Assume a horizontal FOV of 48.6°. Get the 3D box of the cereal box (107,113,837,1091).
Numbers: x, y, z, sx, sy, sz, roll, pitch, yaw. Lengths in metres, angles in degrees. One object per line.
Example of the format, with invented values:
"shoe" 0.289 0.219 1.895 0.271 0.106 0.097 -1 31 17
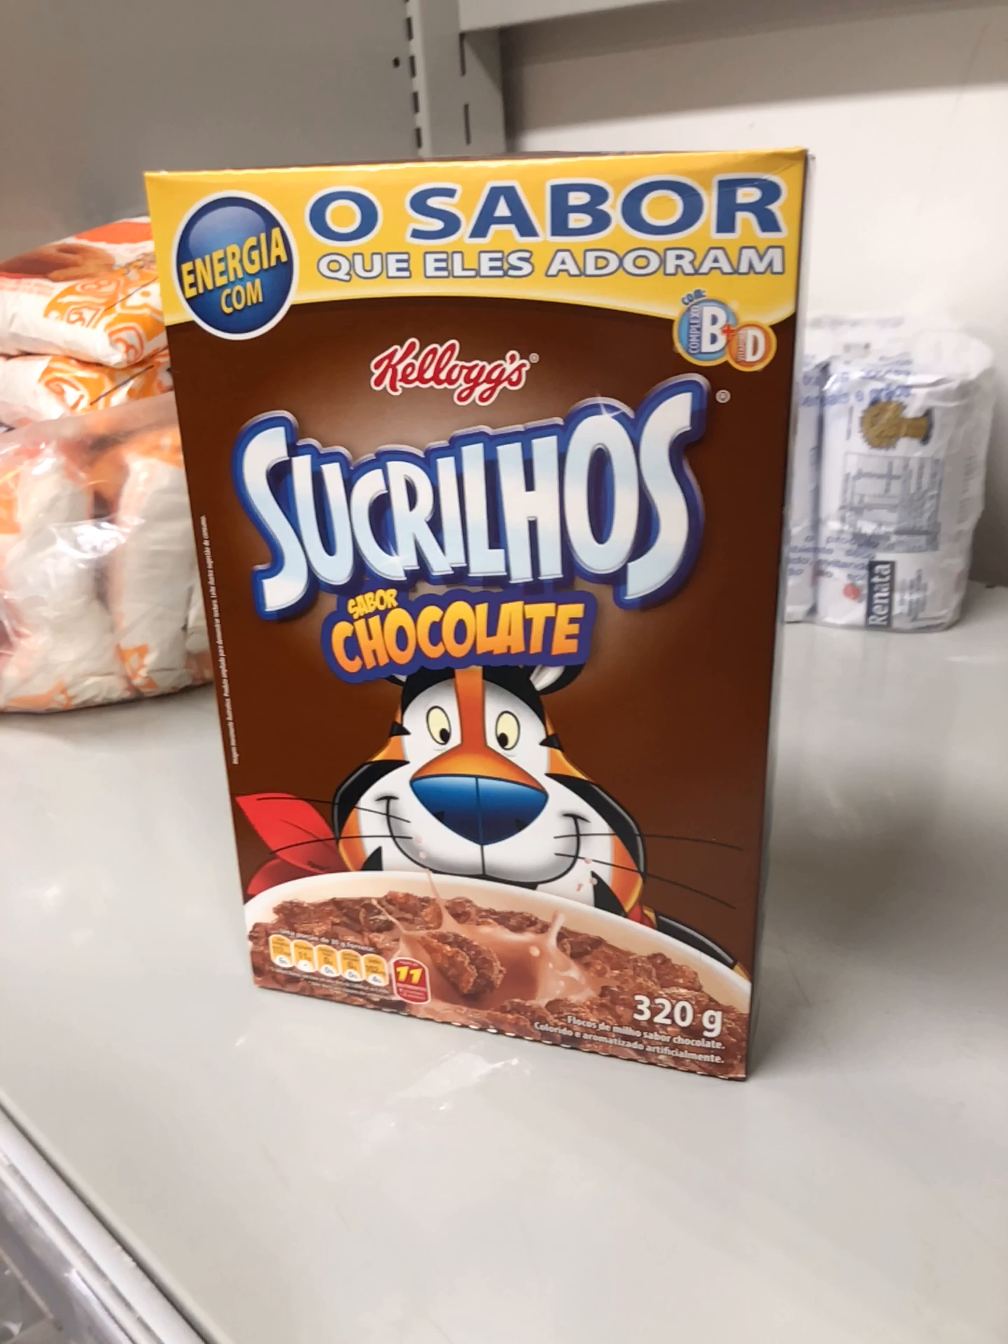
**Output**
"cereal box" -0.002 -0.017 0.345 0.180 0.268 0.070 5 24 16
